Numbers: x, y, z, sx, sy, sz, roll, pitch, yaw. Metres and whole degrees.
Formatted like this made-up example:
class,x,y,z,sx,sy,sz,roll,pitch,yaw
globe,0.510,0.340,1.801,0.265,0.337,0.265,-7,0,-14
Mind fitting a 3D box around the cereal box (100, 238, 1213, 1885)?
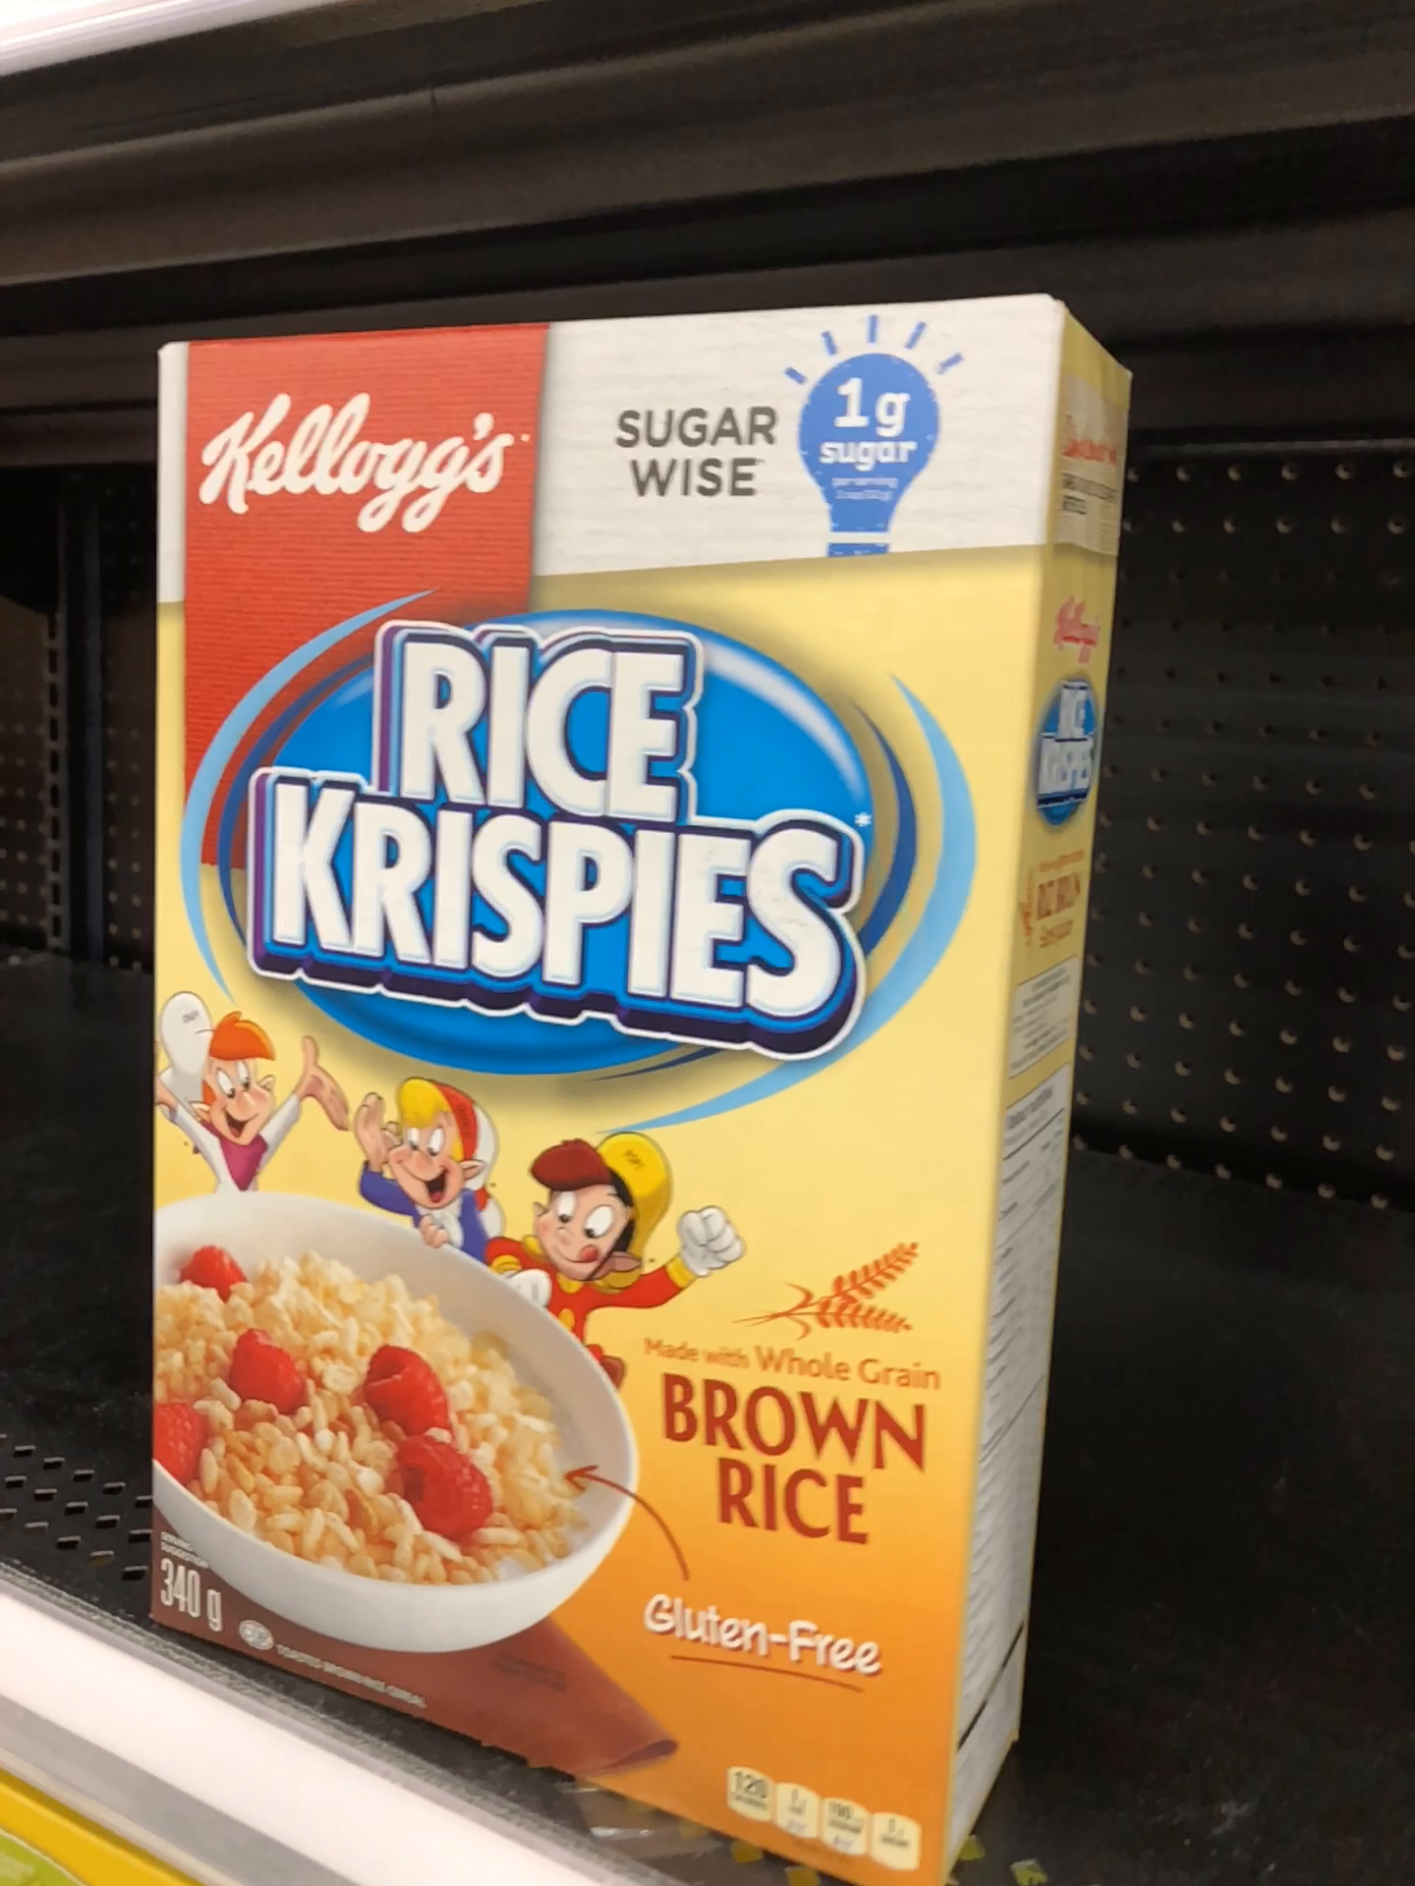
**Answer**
class,x,y,z,sx,sy,sz,roll,pitch,yaw
cereal box,-0.022,0.023,0.324,0.210,0.289,0.060,7,10,24
